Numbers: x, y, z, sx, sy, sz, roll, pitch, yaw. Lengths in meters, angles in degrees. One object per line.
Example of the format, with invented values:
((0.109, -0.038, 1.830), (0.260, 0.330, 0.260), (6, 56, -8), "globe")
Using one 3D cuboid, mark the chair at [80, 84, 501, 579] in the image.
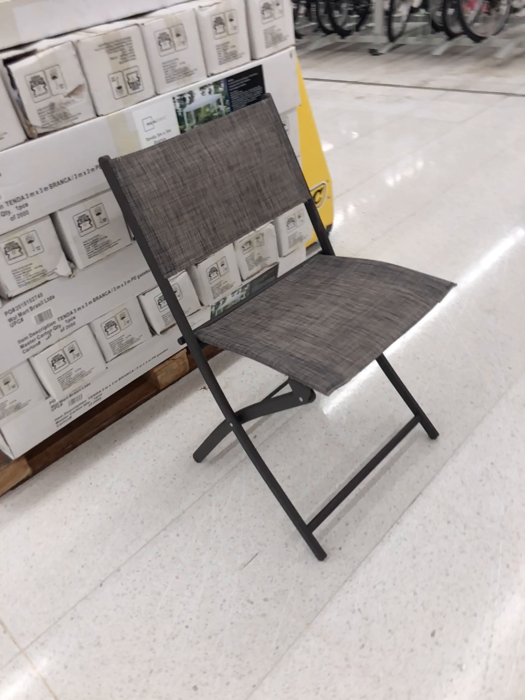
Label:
((0.087, -0.067, 1.193), (0.502, 0.754, 0.512), (26, 49, 38), "chair")
